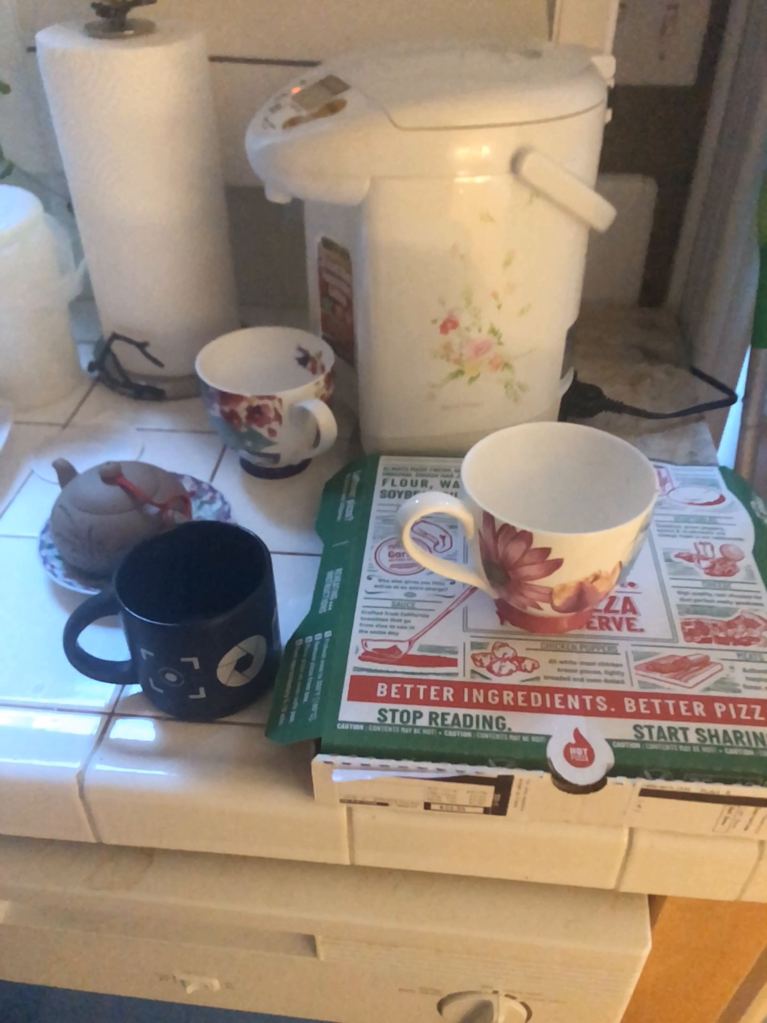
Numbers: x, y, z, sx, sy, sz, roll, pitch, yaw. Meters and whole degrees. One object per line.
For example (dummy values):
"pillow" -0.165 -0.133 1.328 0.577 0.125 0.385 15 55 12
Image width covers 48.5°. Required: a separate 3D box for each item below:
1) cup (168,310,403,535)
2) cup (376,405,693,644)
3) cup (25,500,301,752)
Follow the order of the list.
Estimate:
"cup" -0.079 -0.078 0.689 0.111 0.089 0.161 -28 47 -30
"cup" 0.079 0.003 0.498 0.150 0.069 0.111 -6 39 -7
"cup" -0.129 0.068 0.525 0.140 0.099 0.091 -8 40 -9
